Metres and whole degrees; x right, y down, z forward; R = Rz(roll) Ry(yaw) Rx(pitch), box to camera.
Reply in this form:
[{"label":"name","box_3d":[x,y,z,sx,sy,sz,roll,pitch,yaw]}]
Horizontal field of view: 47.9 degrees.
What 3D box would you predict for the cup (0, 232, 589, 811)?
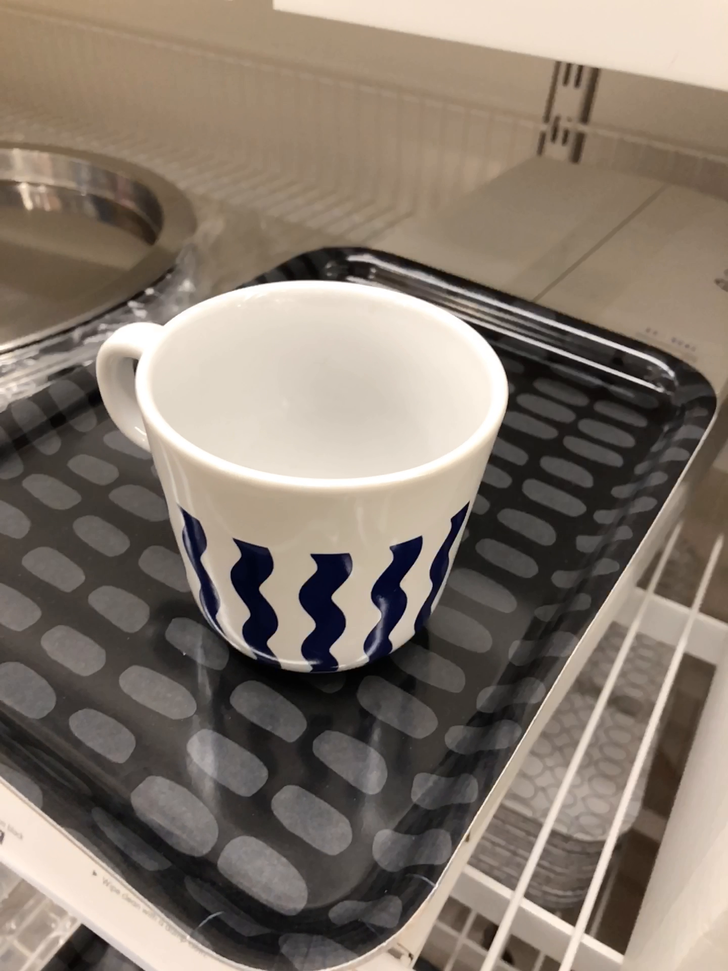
[{"label":"cup","box_3d":[-0.021,0.000,0.215,0.120,0.080,0.090,20,40,19]}]
